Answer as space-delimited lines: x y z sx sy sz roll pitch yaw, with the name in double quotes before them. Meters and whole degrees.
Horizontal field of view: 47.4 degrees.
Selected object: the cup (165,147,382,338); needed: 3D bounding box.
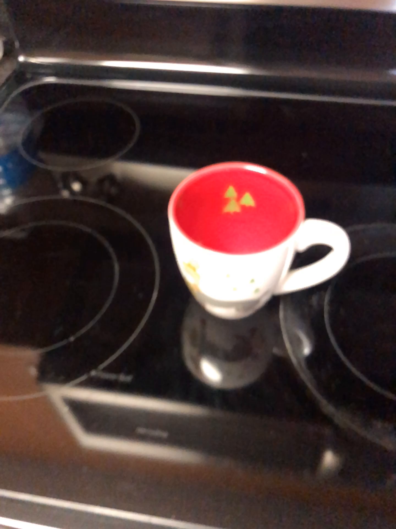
"cup" 0.055 -0.018 0.363 0.140 0.100 0.100 5 52 6
